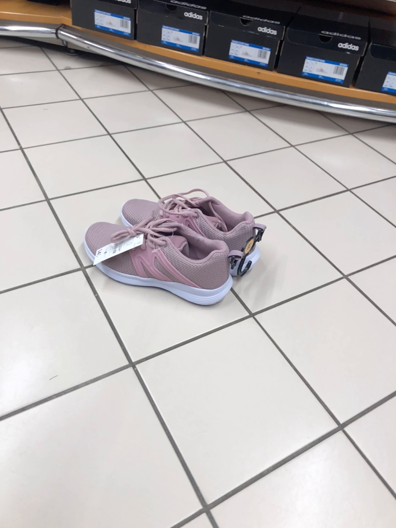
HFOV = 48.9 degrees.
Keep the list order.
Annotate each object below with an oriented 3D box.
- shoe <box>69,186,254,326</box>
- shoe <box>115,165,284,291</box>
[{"bbox_3d":[-0.059,-0.018,0.692,0.260,0.099,0.103,21,45,13],"label":"shoe"},{"bbox_3d":[-0.001,-0.066,0.742,0.260,0.092,0.101,22,45,14],"label":"shoe"}]
